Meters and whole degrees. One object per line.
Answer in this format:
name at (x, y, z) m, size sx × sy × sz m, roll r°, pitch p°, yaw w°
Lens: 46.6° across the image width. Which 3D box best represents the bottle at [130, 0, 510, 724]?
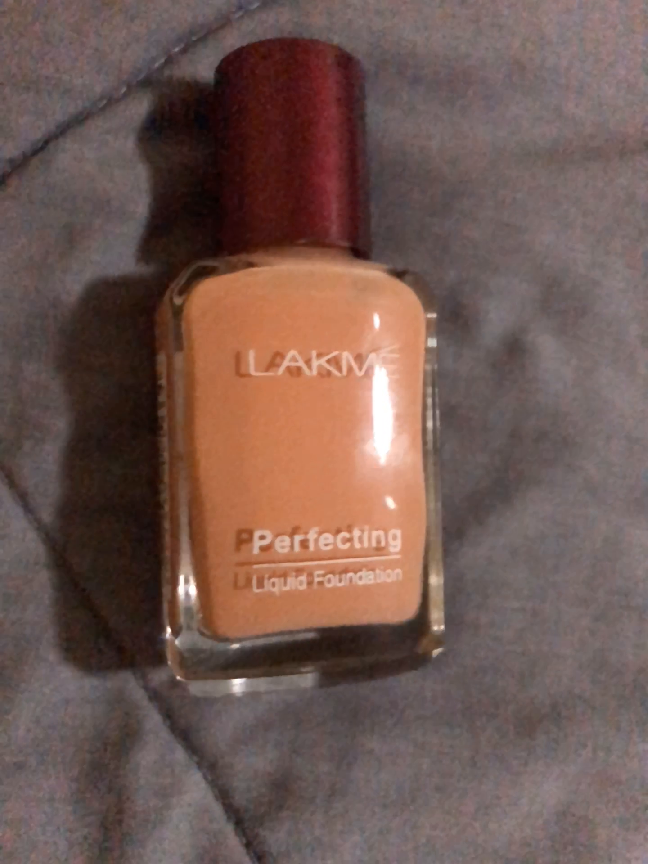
bottle at (-0.002, -0.018, 0.118) m, size 0.050 × 0.030 × 0.110 m, roll -1°, pitch 88°, yaw -20°
